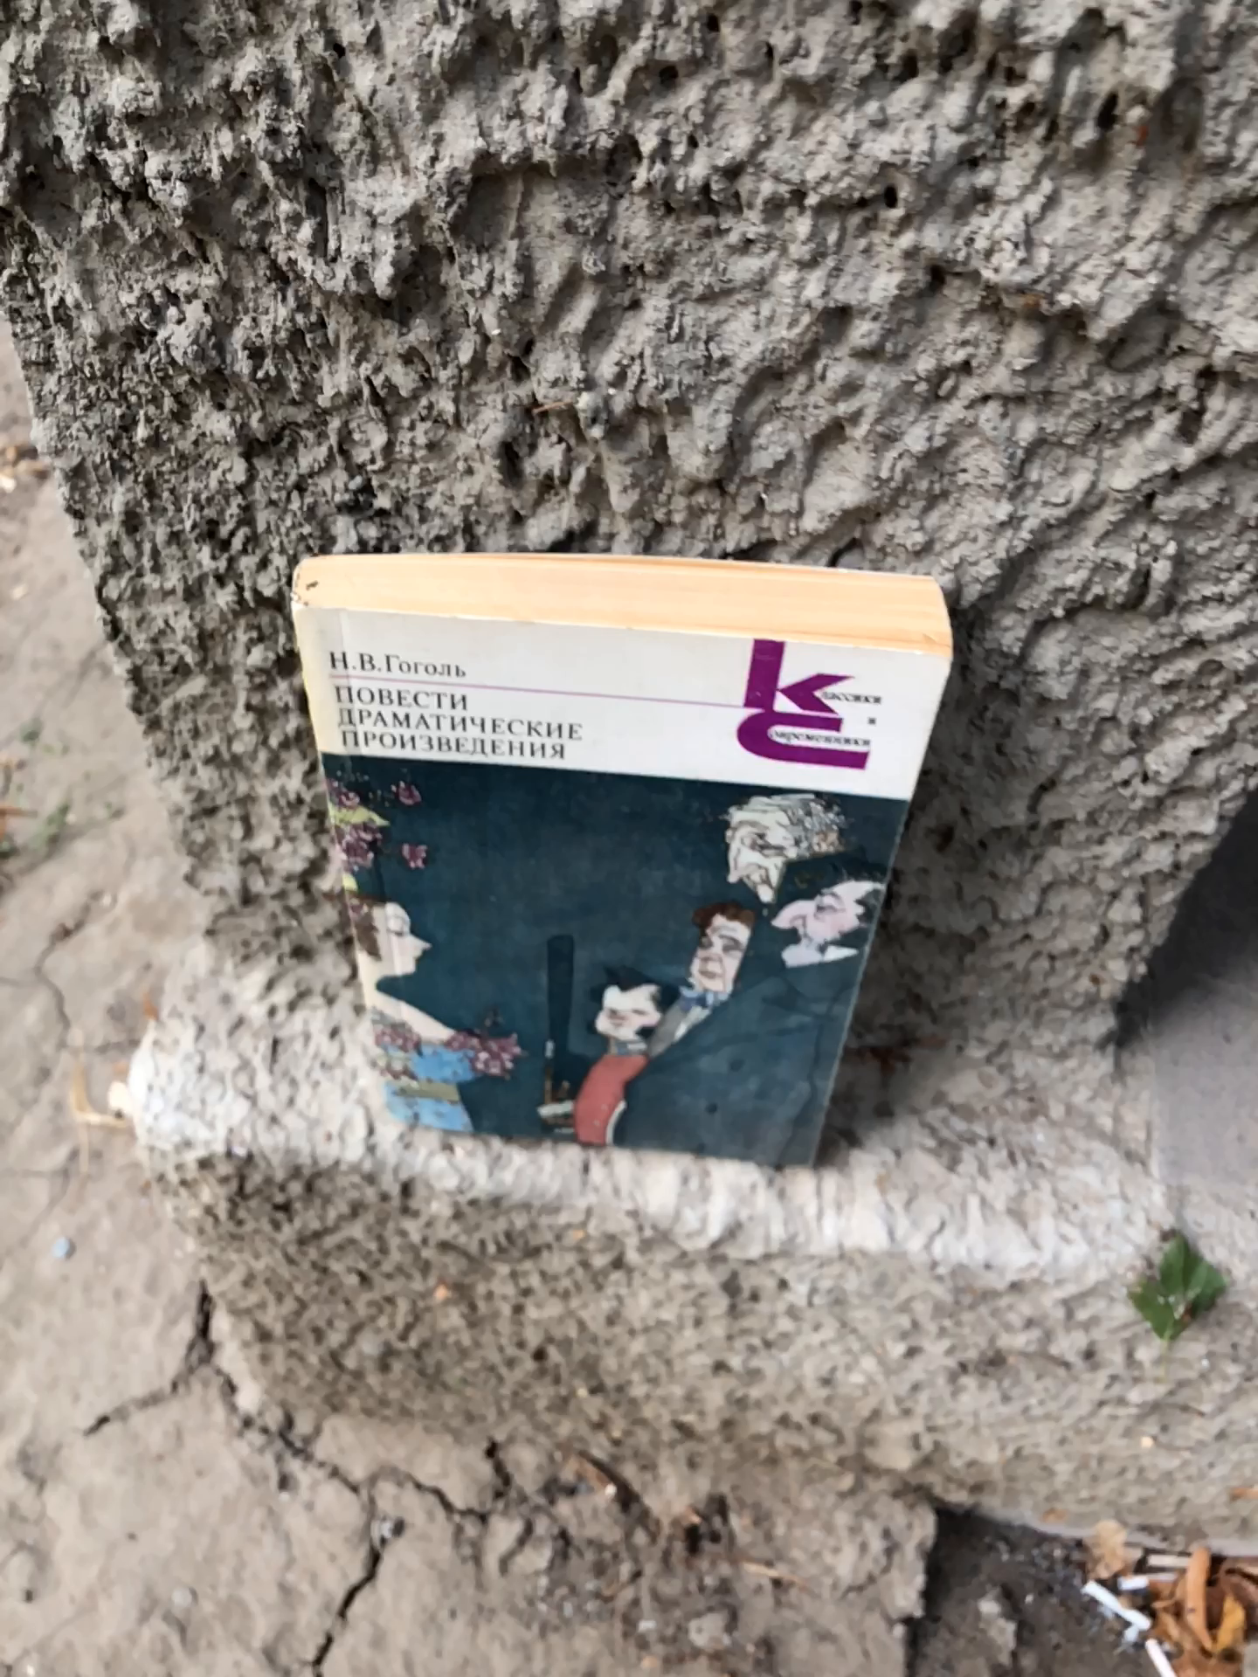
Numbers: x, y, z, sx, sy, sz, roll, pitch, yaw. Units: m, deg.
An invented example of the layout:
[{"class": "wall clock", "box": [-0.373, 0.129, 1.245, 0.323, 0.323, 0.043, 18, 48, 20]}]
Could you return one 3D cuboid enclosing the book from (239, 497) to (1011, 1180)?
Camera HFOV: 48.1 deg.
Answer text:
[{"class": "book", "box": [-0.005, 0.015, 0.330, 0.137, 0.190, 0.030, 3, 47, -1]}]
